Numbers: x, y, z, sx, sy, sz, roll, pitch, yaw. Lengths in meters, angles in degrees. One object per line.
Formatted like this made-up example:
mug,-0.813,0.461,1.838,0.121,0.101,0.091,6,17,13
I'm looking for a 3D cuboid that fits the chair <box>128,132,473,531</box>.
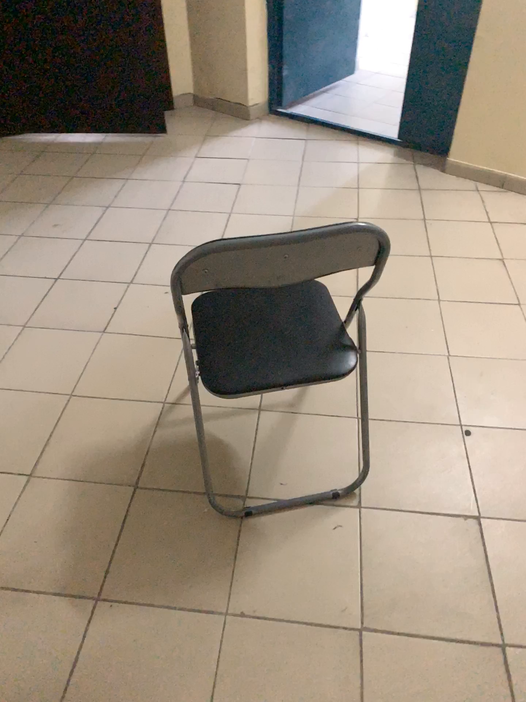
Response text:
chair,0.028,-0.045,1.313,0.570,0.727,0.563,-7,43,-7
